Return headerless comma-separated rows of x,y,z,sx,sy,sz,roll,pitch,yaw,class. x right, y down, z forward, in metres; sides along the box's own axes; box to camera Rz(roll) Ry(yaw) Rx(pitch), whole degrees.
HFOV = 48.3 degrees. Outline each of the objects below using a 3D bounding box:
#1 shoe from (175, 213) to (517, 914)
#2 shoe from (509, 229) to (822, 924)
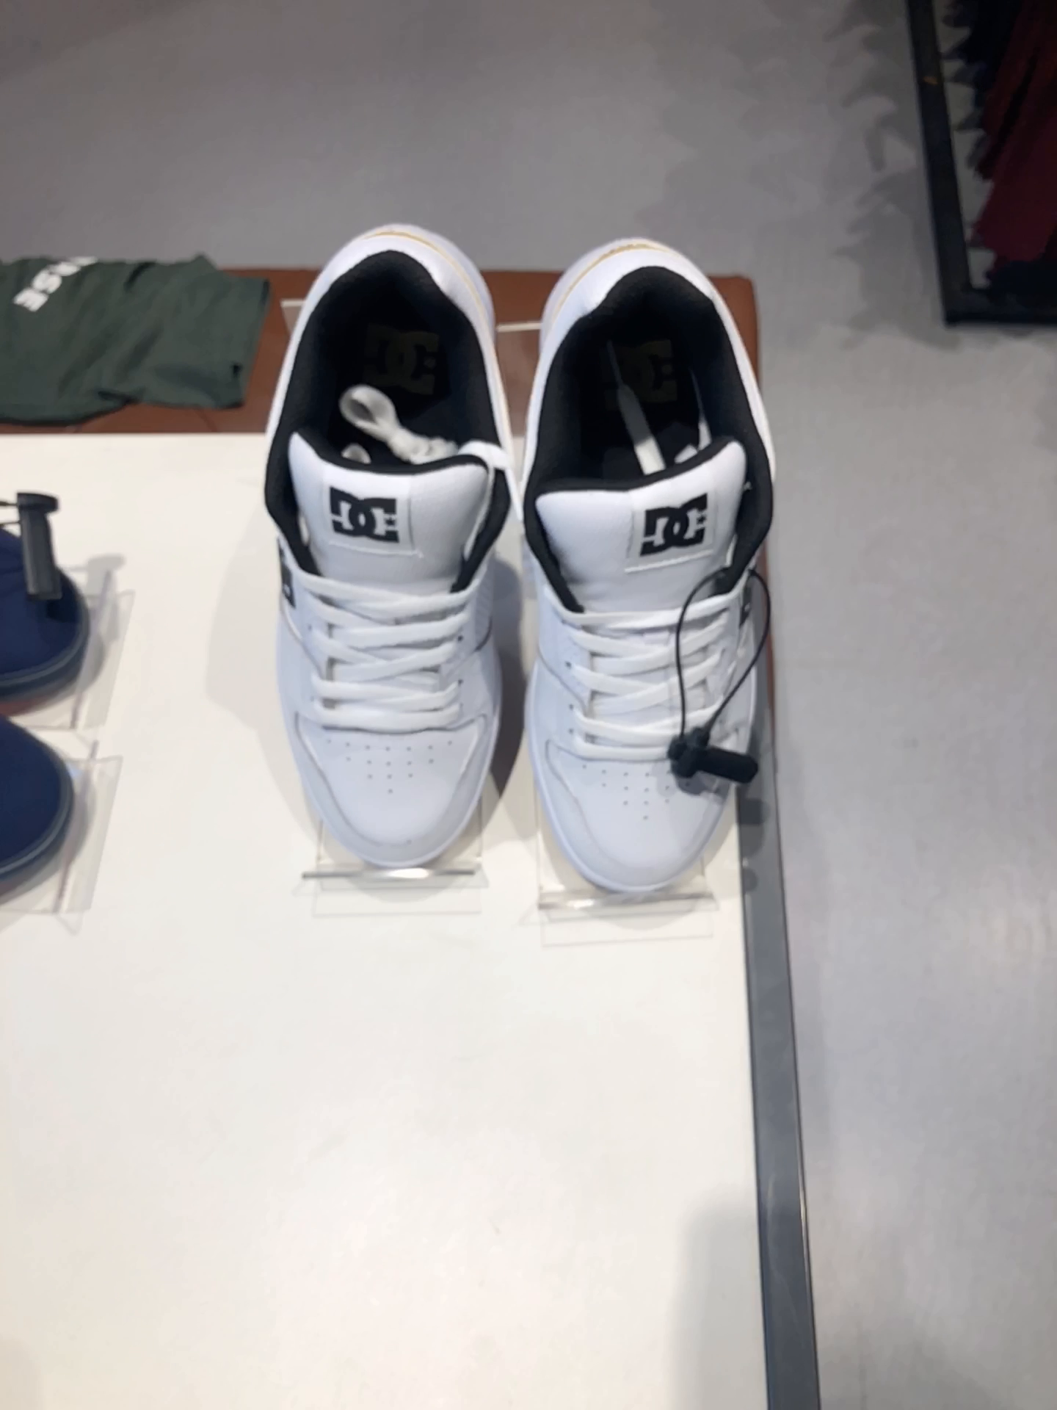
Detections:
-0.061,-0.055,0.477,0.103,0.259,0.102,2,26,2,shoe
0.044,-0.049,0.464,0.095,0.249,0.102,-2,25,-2,shoe
